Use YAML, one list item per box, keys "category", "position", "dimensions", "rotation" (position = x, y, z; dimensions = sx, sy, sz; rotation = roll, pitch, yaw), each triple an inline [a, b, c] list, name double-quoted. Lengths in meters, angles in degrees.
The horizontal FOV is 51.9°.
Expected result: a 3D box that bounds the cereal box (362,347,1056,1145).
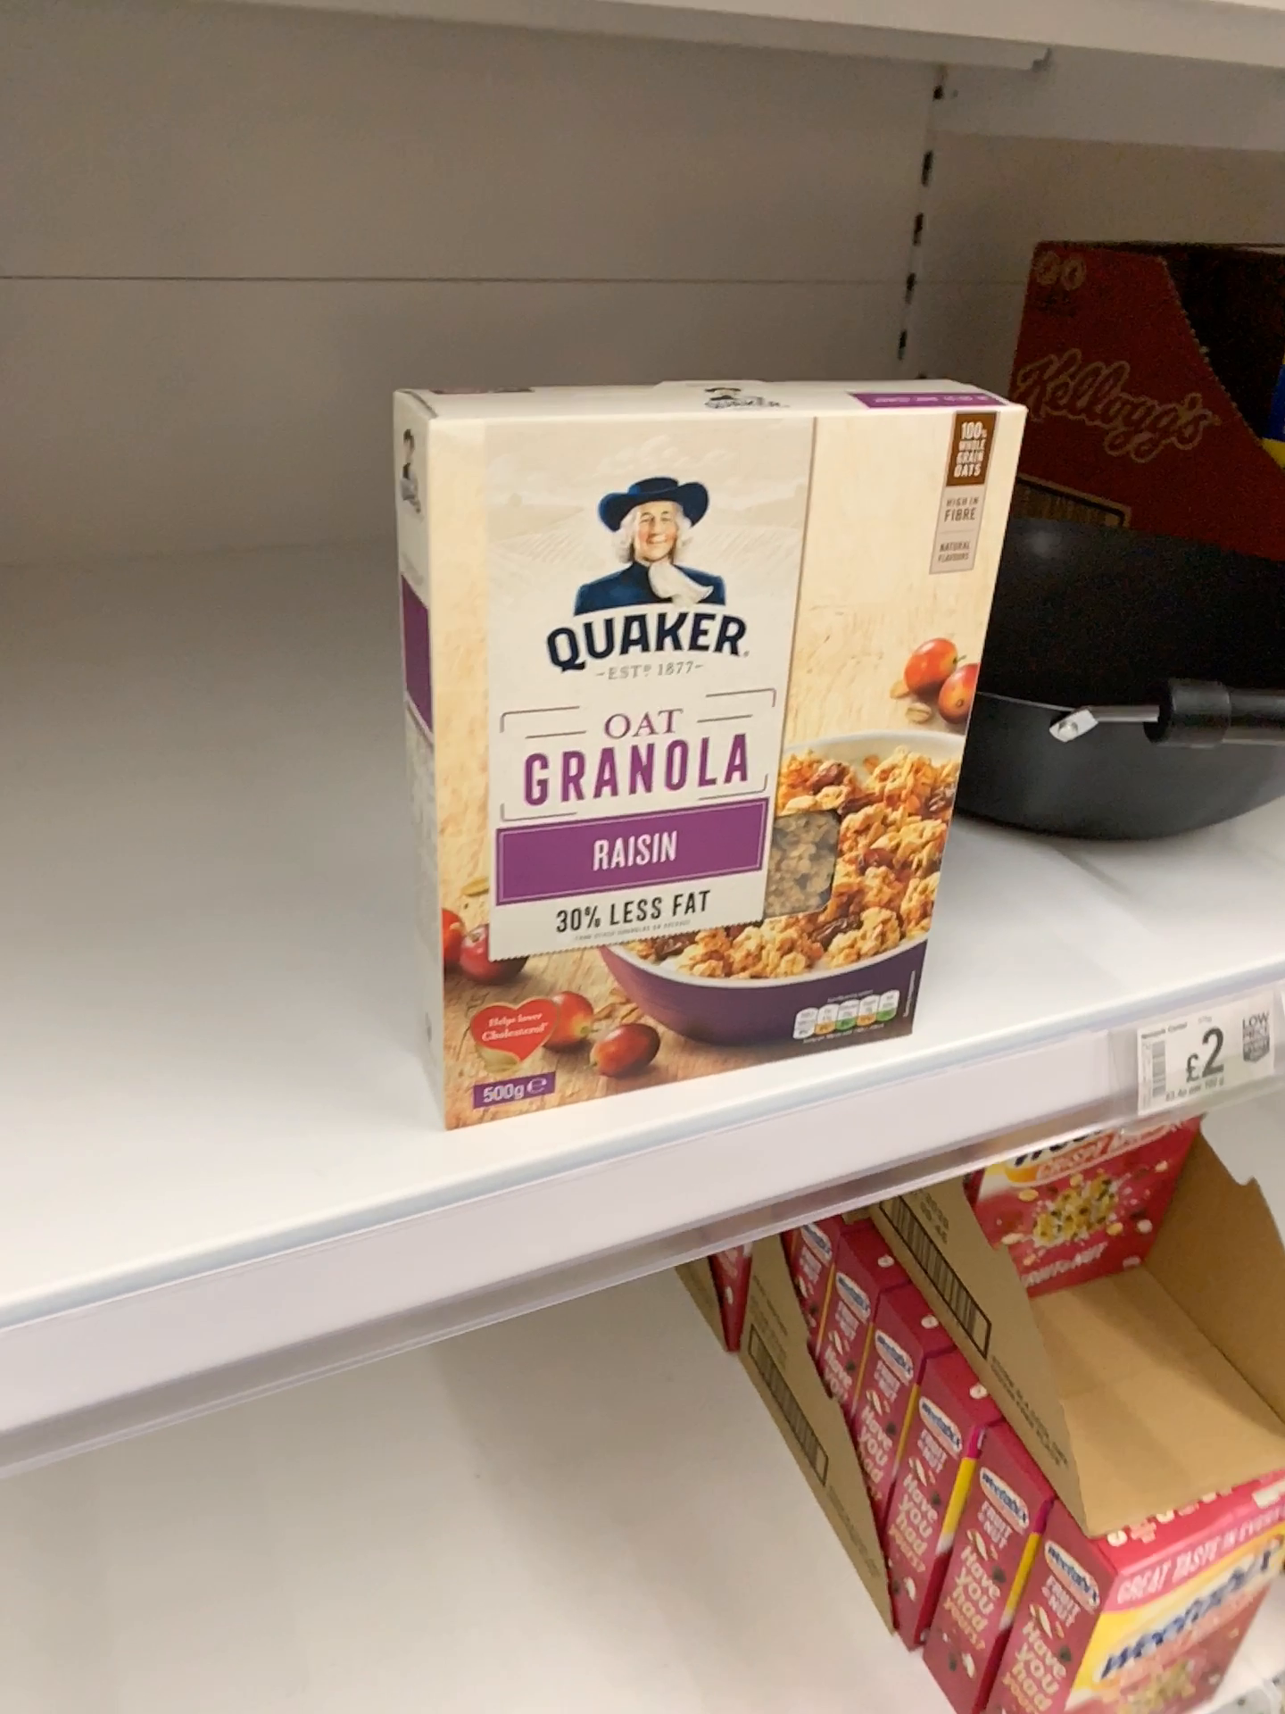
- category: "cereal box"
  position: [0.016, -0.038, 0.452]
  dimensions: [0.200, 0.248, 0.060]
  rotation: [-8, 31, -21]
